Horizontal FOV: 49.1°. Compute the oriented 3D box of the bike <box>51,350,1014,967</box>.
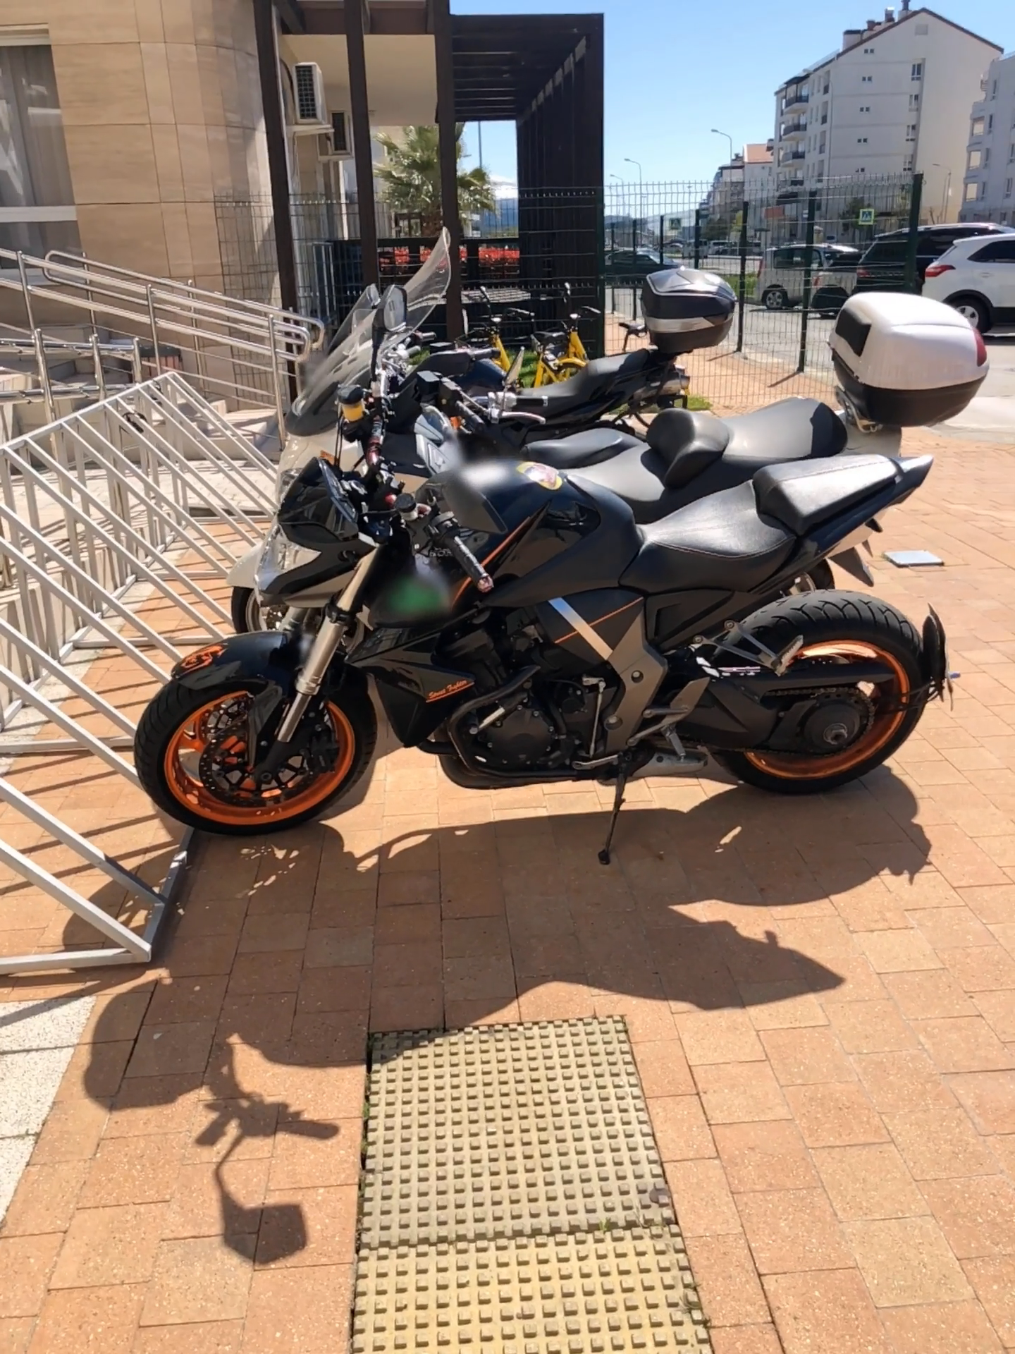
[{"bbox_3d":[0.106,-0.119,2.638,1.949,1.170,0.799,-3,20,-6],"label":"bike"}]
